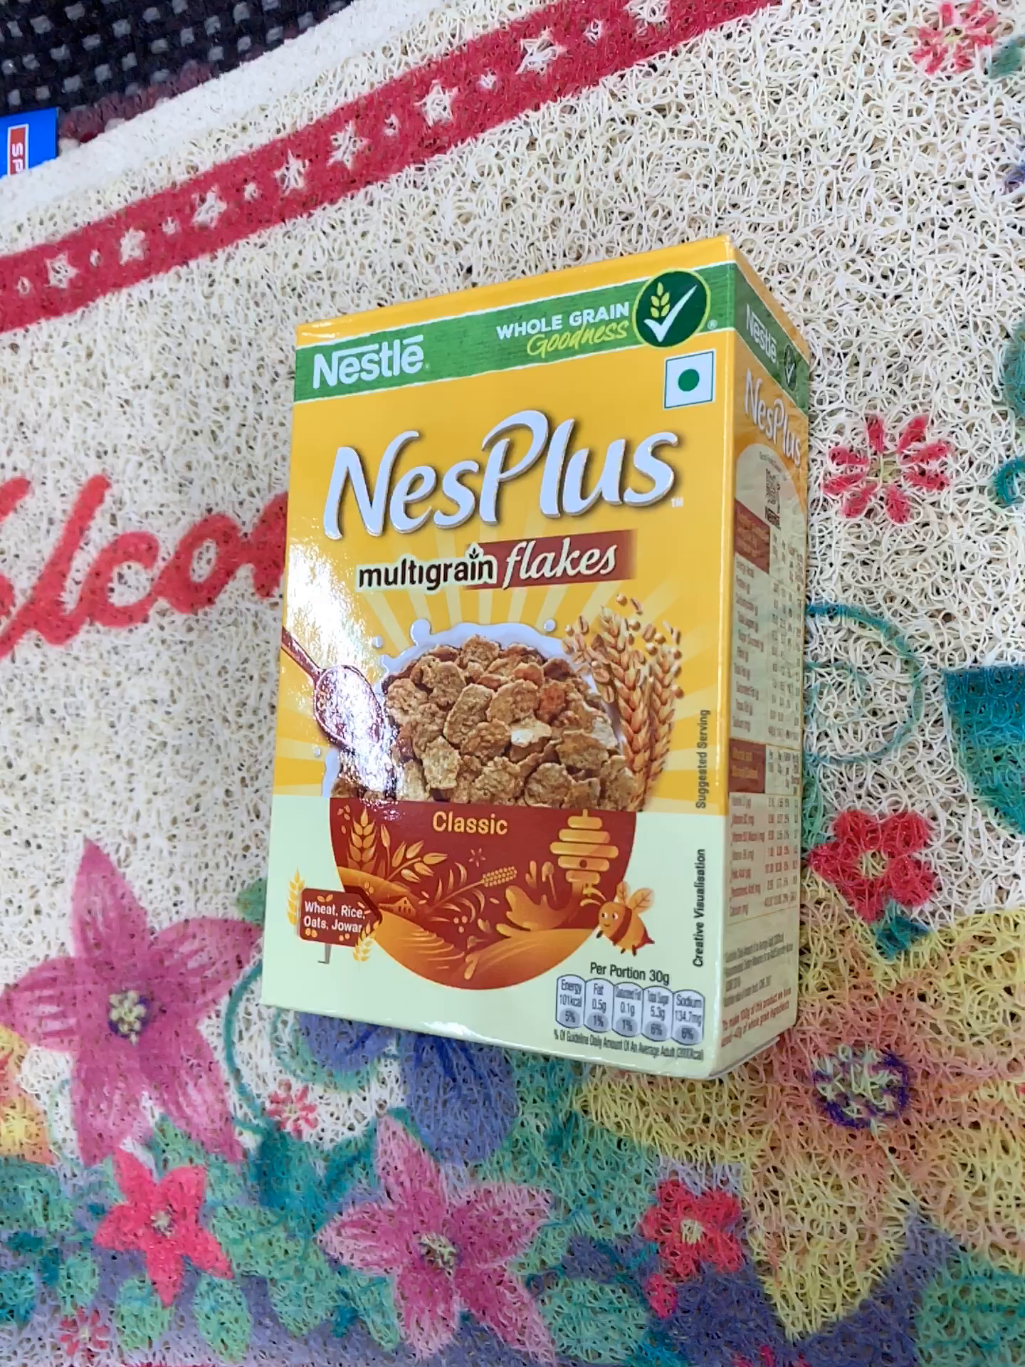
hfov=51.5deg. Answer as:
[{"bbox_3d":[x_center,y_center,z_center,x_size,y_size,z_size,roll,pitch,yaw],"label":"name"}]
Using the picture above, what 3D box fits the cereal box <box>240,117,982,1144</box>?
[{"bbox_3d":[0.016,-0.009,0.204,0.130,0.040,0.150,0,83,31],"label":"cereal box"}]
